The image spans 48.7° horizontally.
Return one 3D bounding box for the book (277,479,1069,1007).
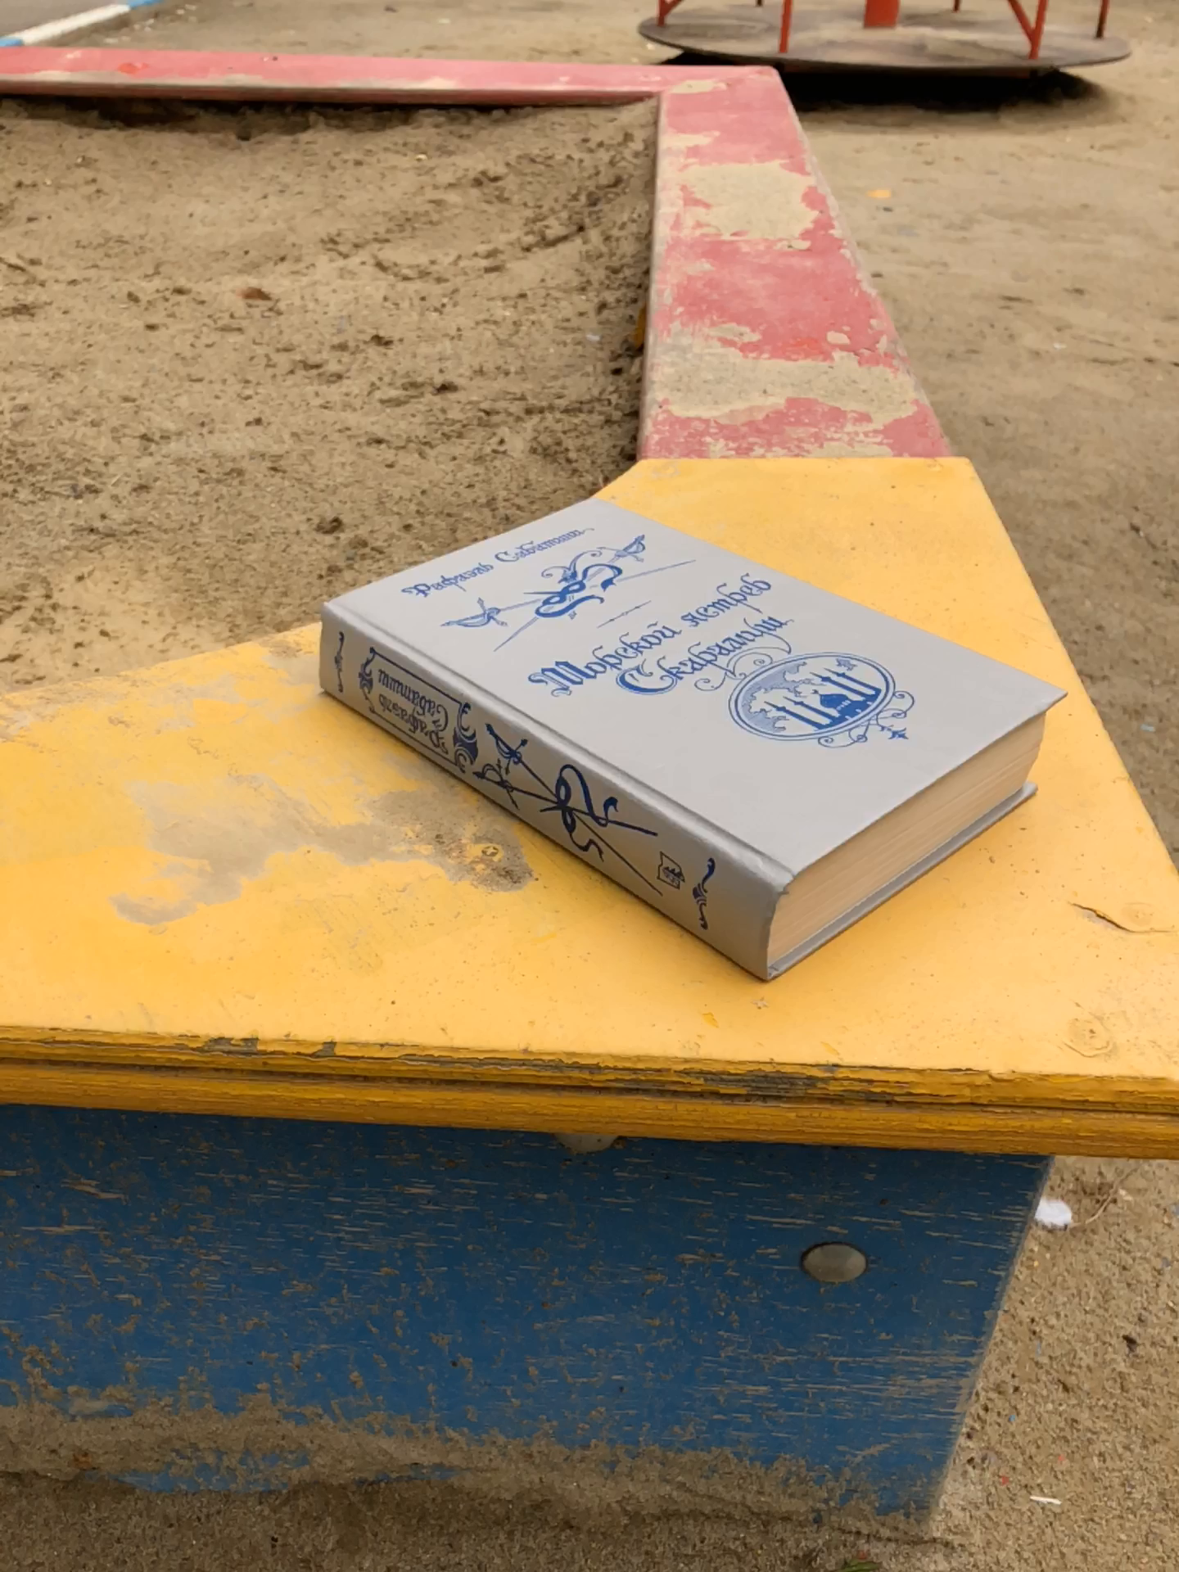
[{"bbox_3d":[0.018,-0.032,0.414,0.135,0.037,0.211,-28,45,-35],"label":"book"}]
